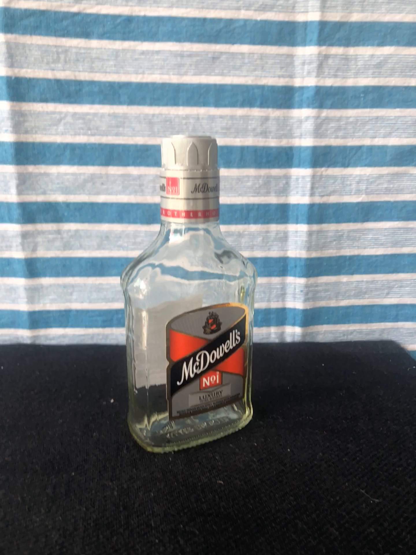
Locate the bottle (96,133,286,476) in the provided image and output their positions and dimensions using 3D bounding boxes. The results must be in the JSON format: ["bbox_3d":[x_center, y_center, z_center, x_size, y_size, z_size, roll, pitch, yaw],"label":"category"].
[{"bbox_3d":[-0.012,0.009,0.229,0.070,0.149,0.050,-7,19,-29],"label":"bottle"}]
